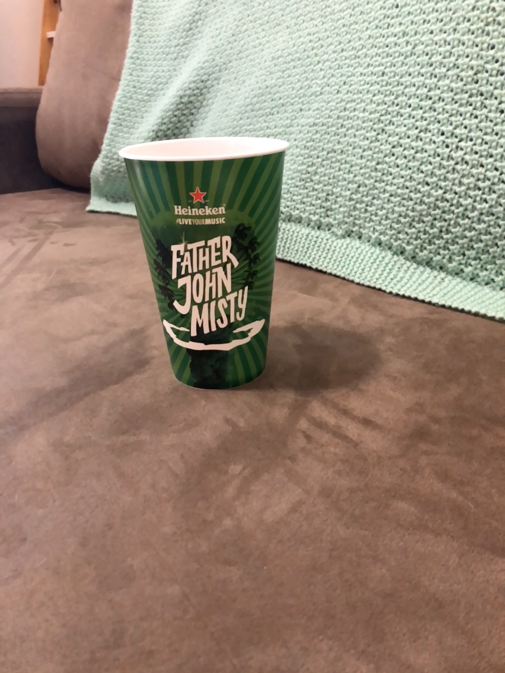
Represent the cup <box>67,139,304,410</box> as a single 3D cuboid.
[{"bbox_3d":[-0.029,-0.044,0.331,0.100,0.129,0.101,-1,24,0],"label":"cup"}]
